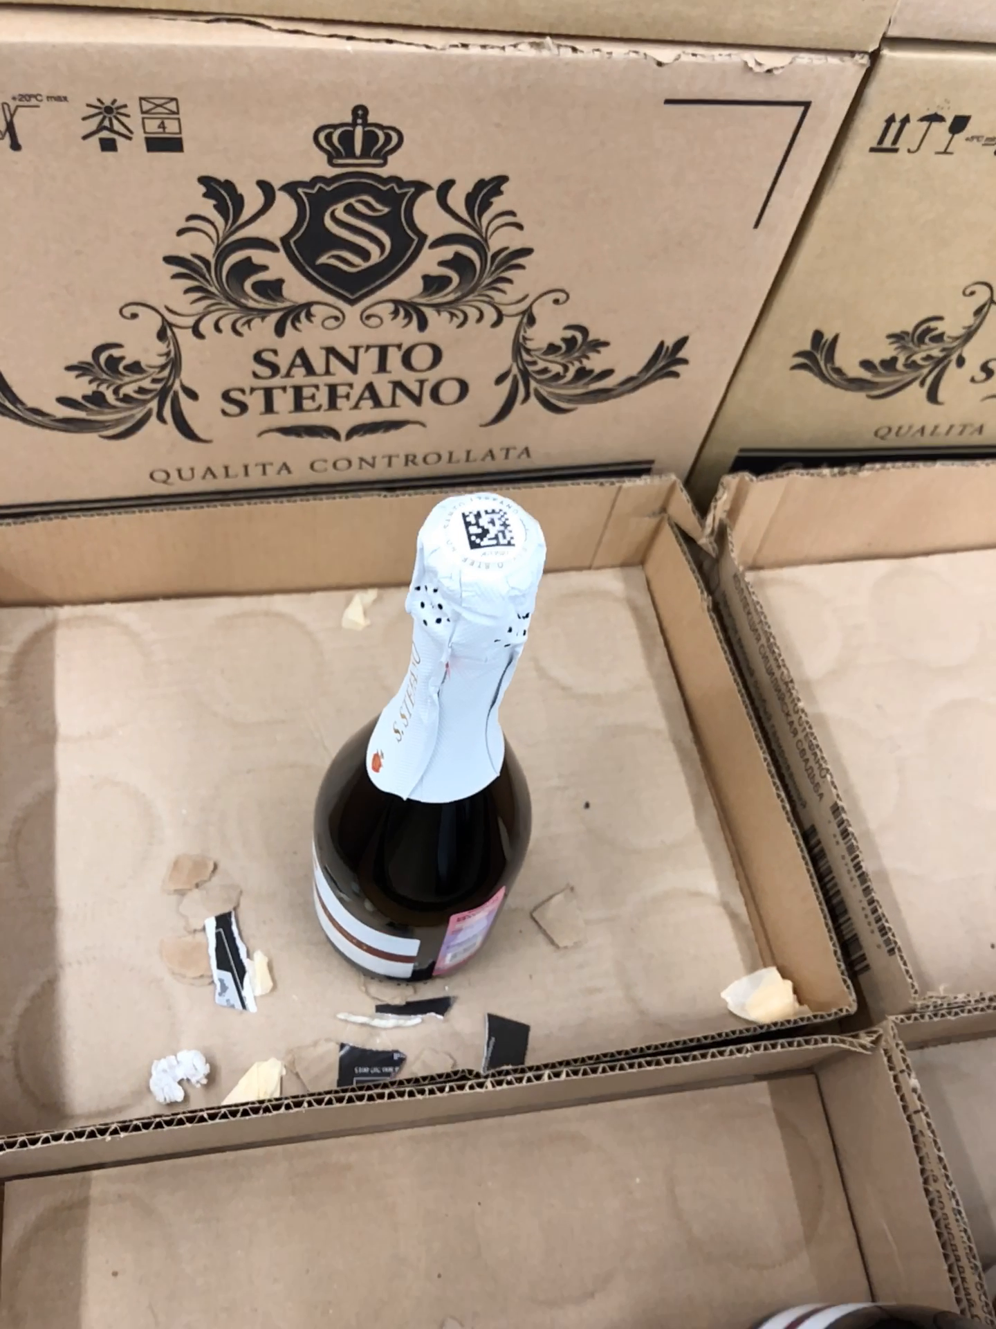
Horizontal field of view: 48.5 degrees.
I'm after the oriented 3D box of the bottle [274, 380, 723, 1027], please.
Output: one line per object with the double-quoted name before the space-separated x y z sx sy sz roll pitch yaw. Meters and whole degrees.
"bottle" -0.022 0.044 0.408 0.090 0.309 0.090 4 60 -7
